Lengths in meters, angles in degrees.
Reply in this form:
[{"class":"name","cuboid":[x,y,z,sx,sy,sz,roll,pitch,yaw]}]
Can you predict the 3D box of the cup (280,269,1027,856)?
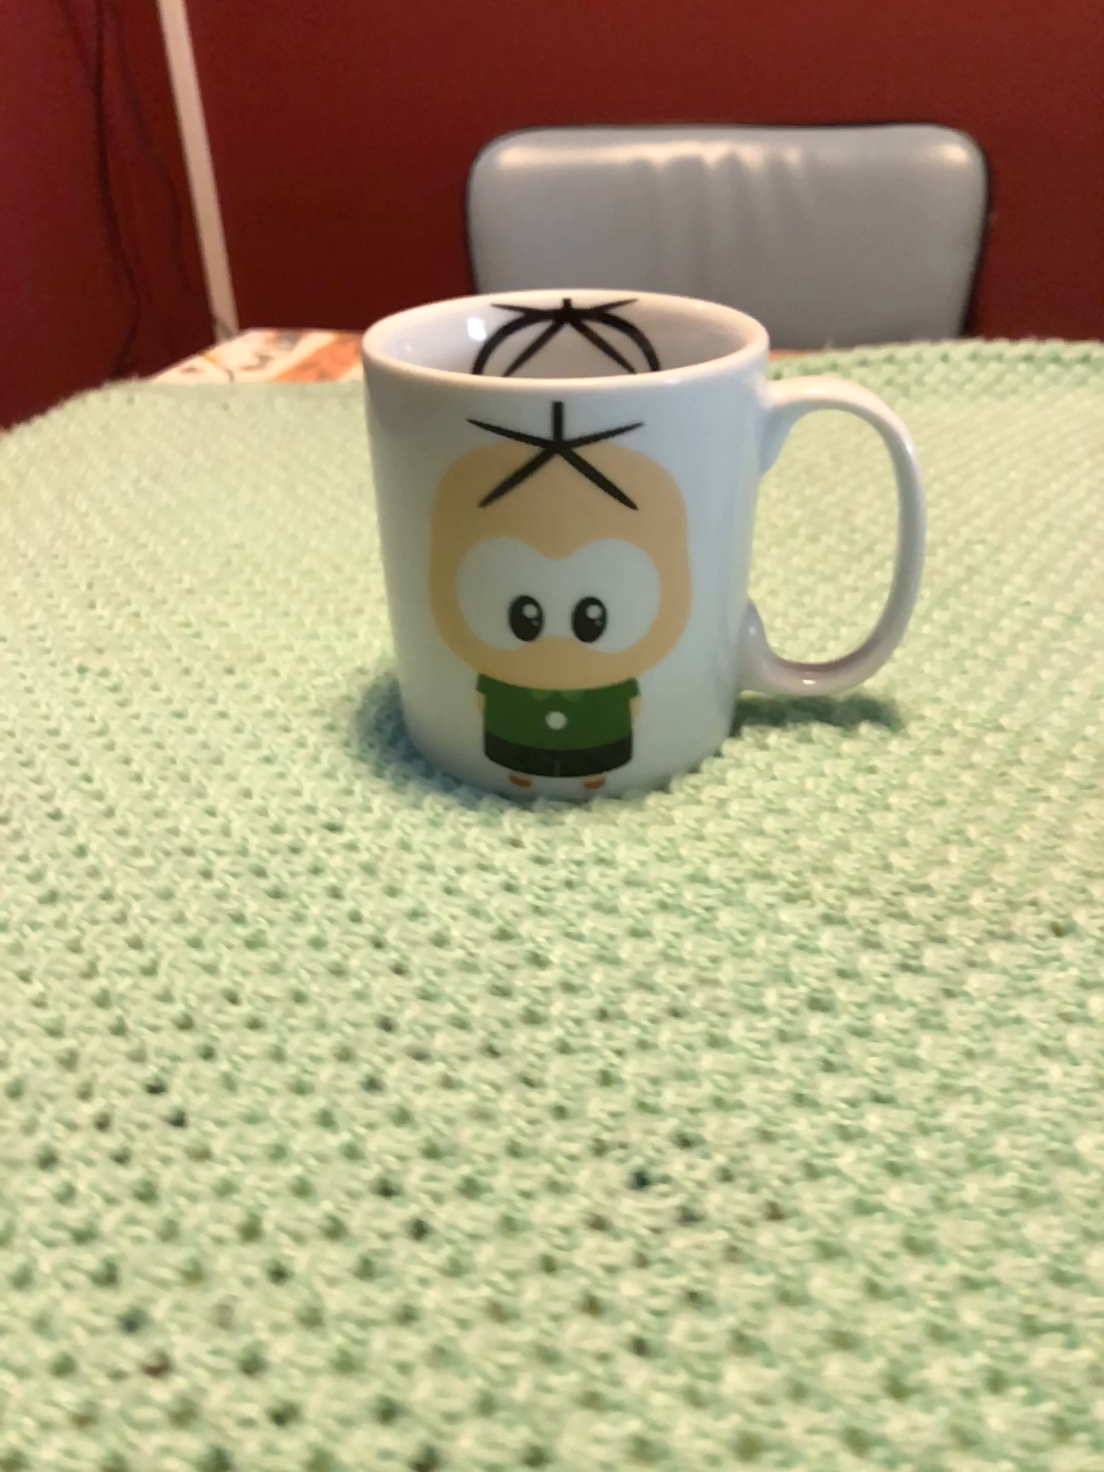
[{"class":"cup","cuboid":[0.023,-0.044,0.279,0.130,0.099,0.091,2,30,8]}]
